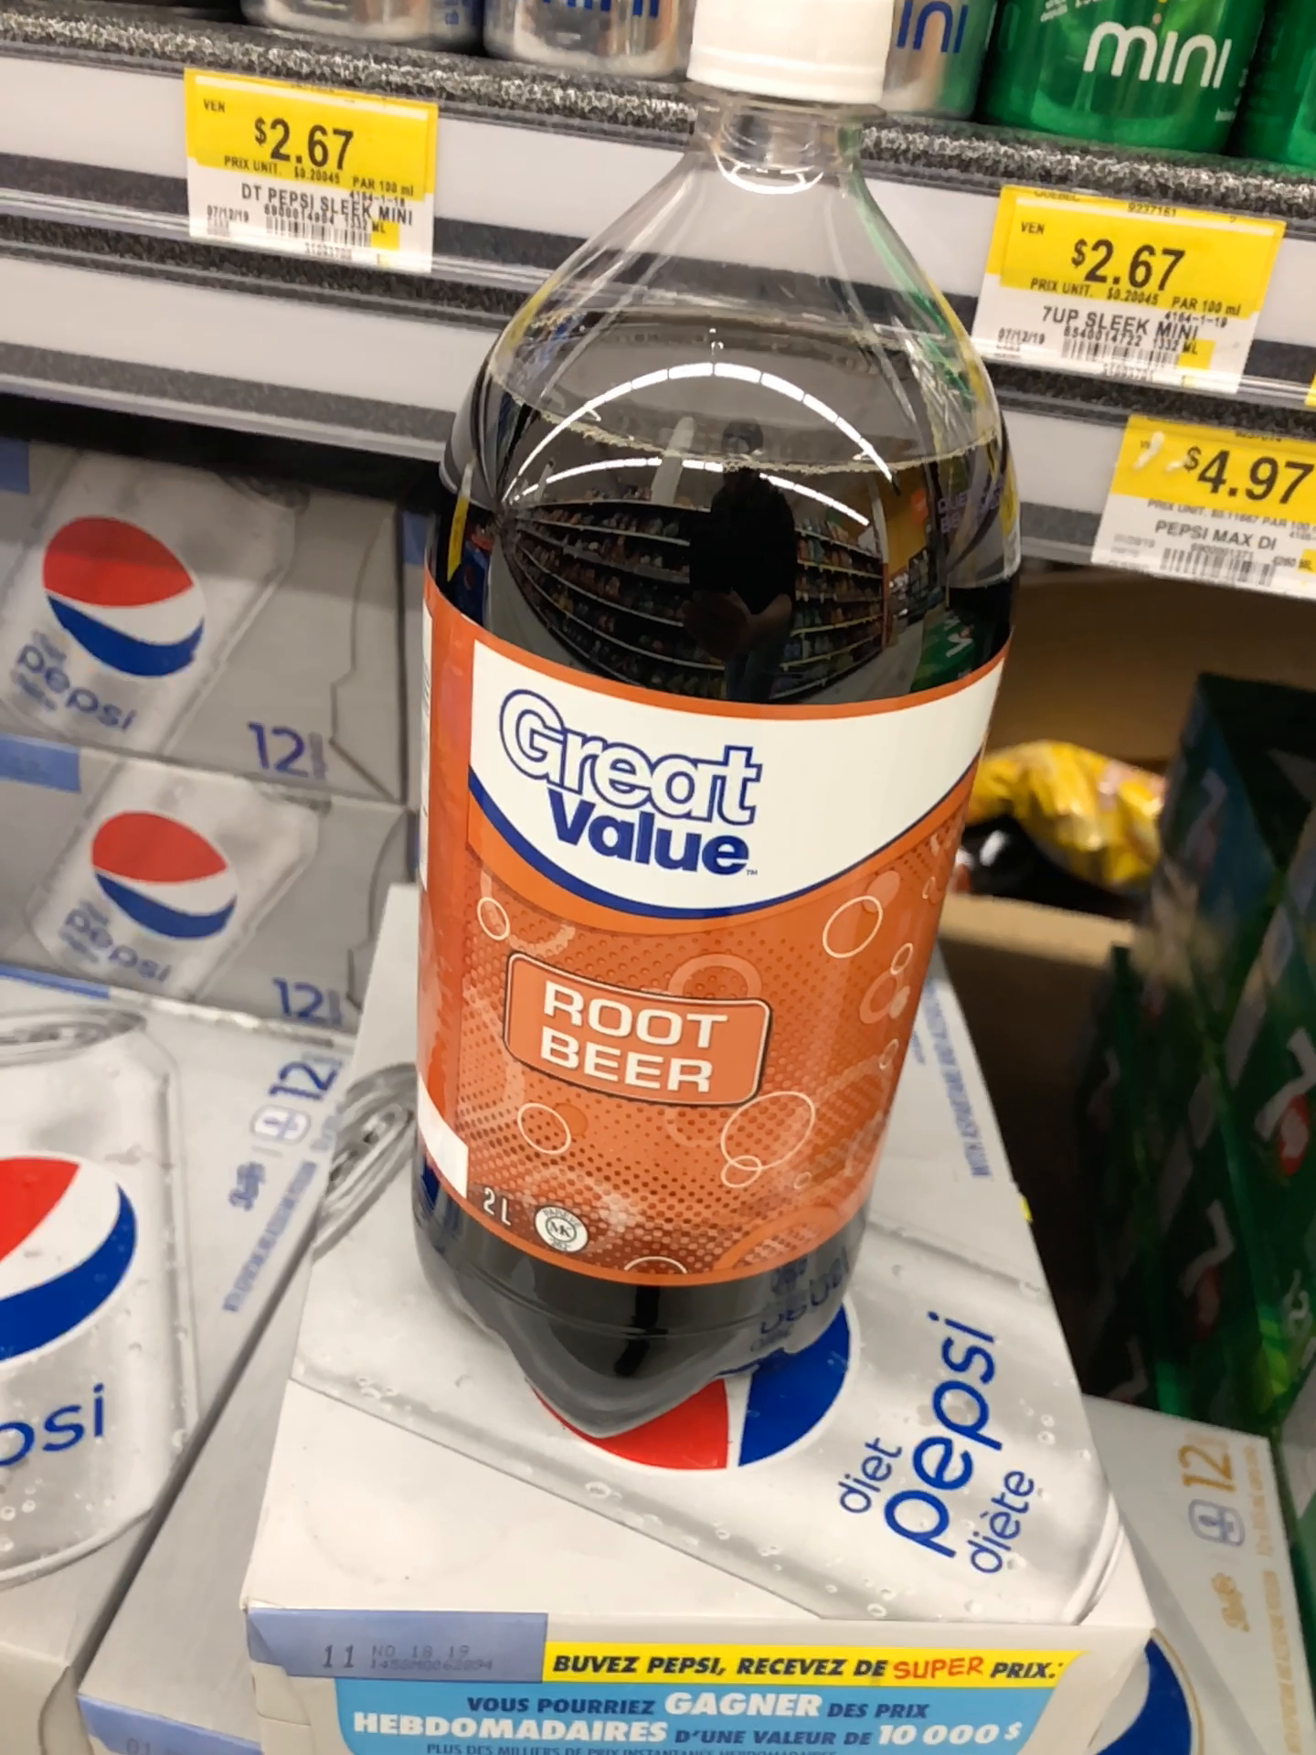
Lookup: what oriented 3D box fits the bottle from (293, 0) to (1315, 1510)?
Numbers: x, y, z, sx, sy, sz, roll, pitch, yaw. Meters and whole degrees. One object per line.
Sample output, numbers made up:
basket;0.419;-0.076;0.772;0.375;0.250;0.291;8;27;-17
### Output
bottle;0.017;-0.023;0.289;0.120;0.268;0.121;4;34;-3
